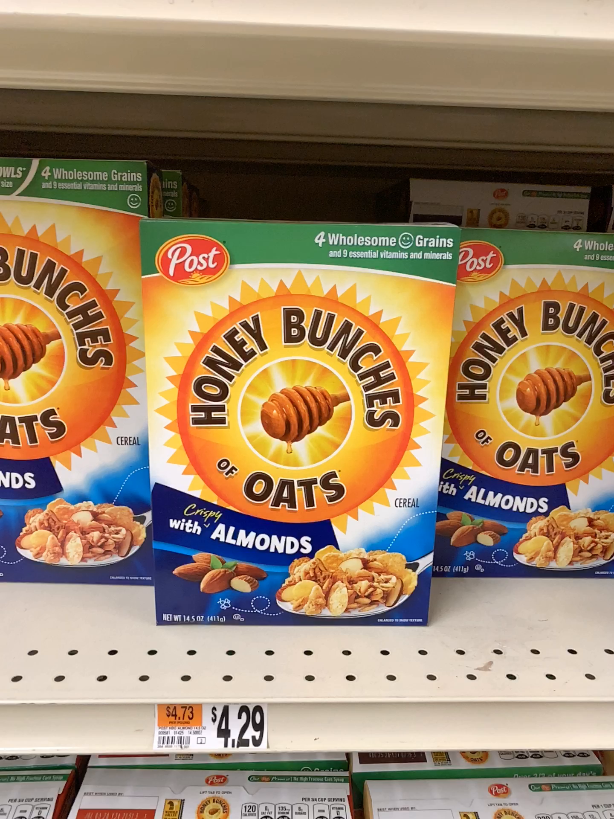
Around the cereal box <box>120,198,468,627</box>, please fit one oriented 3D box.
[{"bbox_3d":[-0.011,0.007,0.429,0.200,0.279,0.060,1,16,-2],"label":"cereal box"}]
